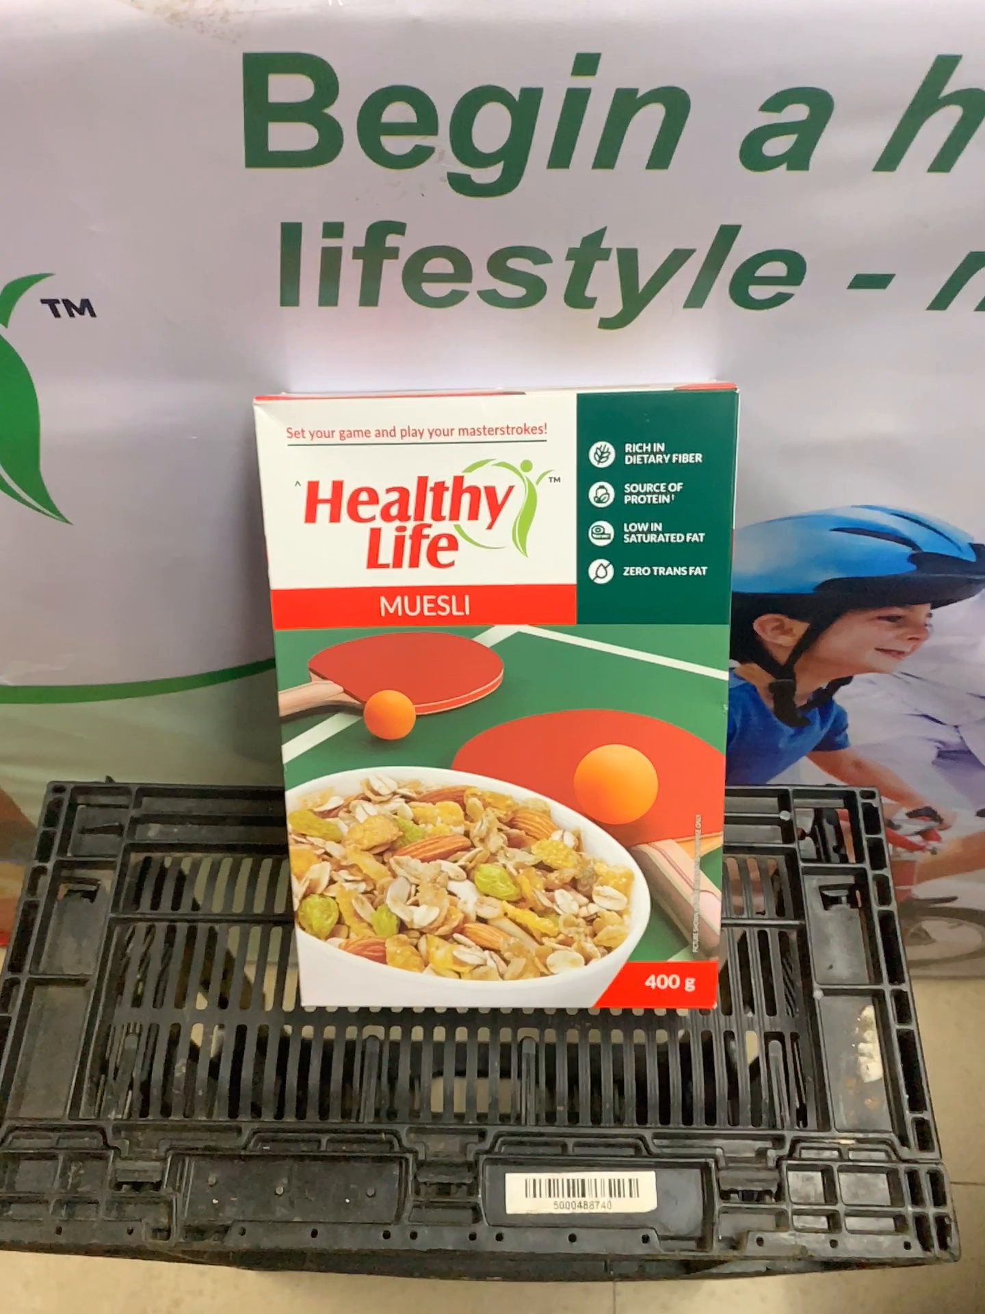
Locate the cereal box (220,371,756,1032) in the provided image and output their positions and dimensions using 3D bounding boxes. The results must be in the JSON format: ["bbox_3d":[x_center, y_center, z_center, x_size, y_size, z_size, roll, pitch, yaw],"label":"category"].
[{"bbox_3d":[0.003,0.016,0.384,0.170,0.230,0.080,-1,13,4],"label":"cereal box"}]
